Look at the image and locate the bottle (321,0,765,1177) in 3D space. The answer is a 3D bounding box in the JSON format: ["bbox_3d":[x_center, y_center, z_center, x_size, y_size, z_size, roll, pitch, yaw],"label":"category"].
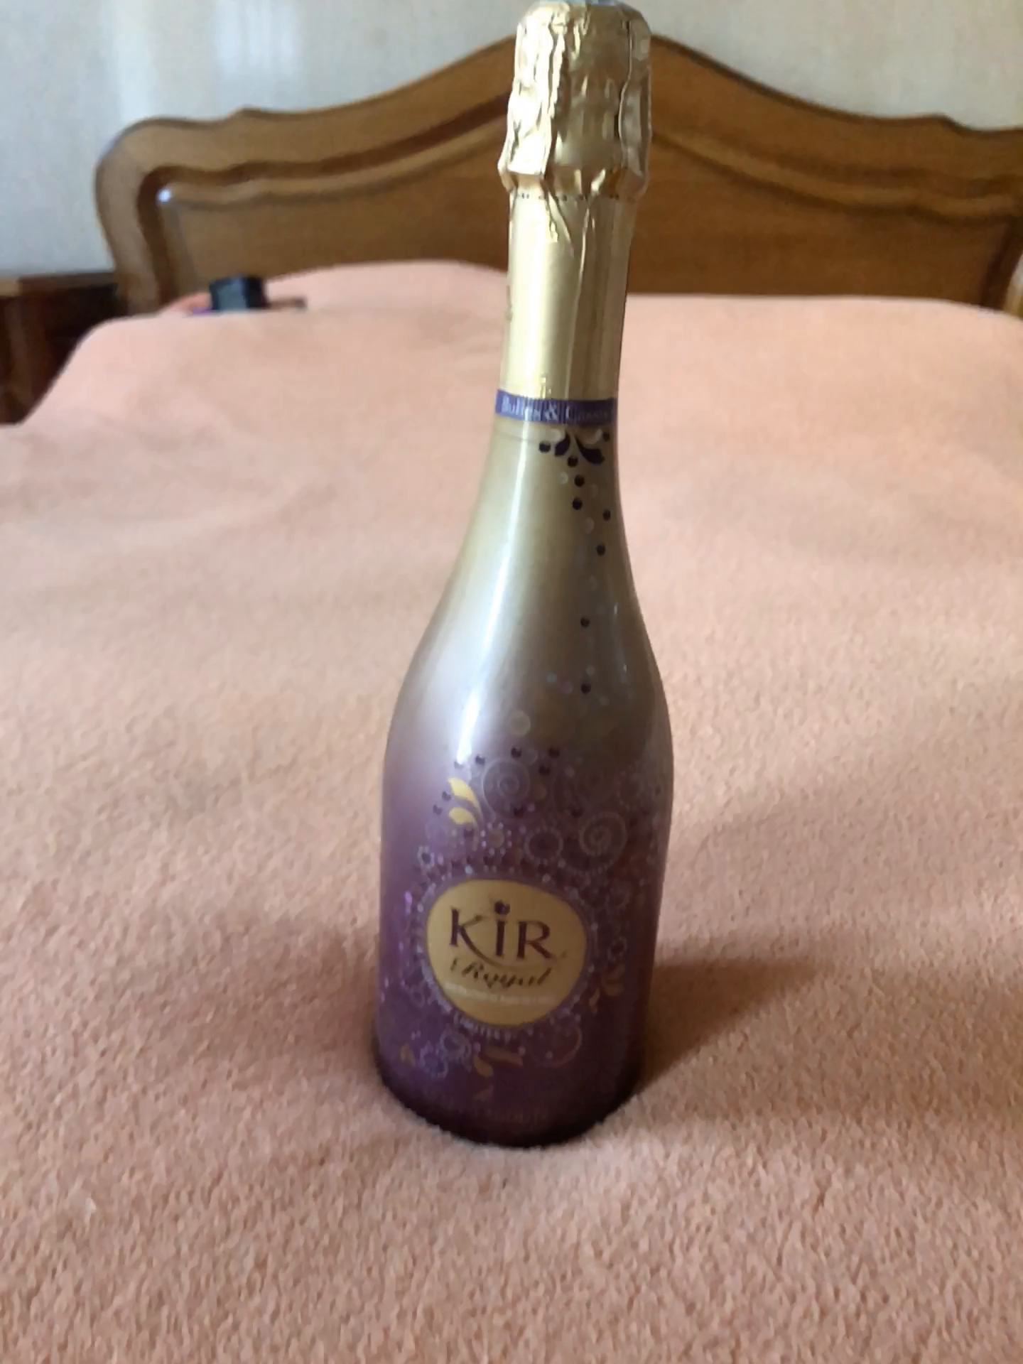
[{"bbox_3d":[0.005,-0.022,0.324,0.090,0.308,0.091,3,20,-1],"label":"bottle"}]
